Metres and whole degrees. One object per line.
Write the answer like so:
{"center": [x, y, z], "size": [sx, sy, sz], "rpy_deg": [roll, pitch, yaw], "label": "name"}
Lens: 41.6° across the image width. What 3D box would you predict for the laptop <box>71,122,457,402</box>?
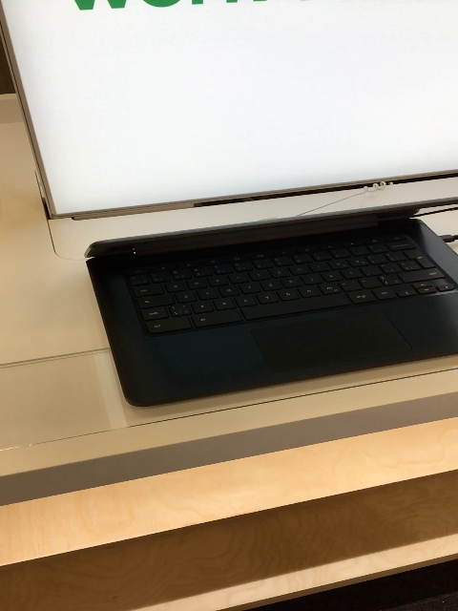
{"center": [0.065, -0.051, 0.531], "size": [0.355, 0.121, 0.195], "rpy_deg": [-10, 44, -11], "label": "laptop"}
